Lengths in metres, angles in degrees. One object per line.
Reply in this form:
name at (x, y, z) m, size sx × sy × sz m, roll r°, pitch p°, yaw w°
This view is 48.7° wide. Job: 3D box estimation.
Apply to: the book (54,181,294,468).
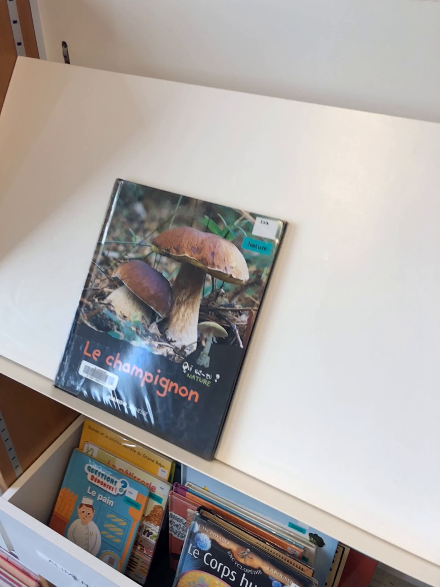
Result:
book at (-0.056, 0.022, 0.508) m, size 0.202 × 0.242 × 0.020 m, roll 19°, pitch 2°, yaw 22°
